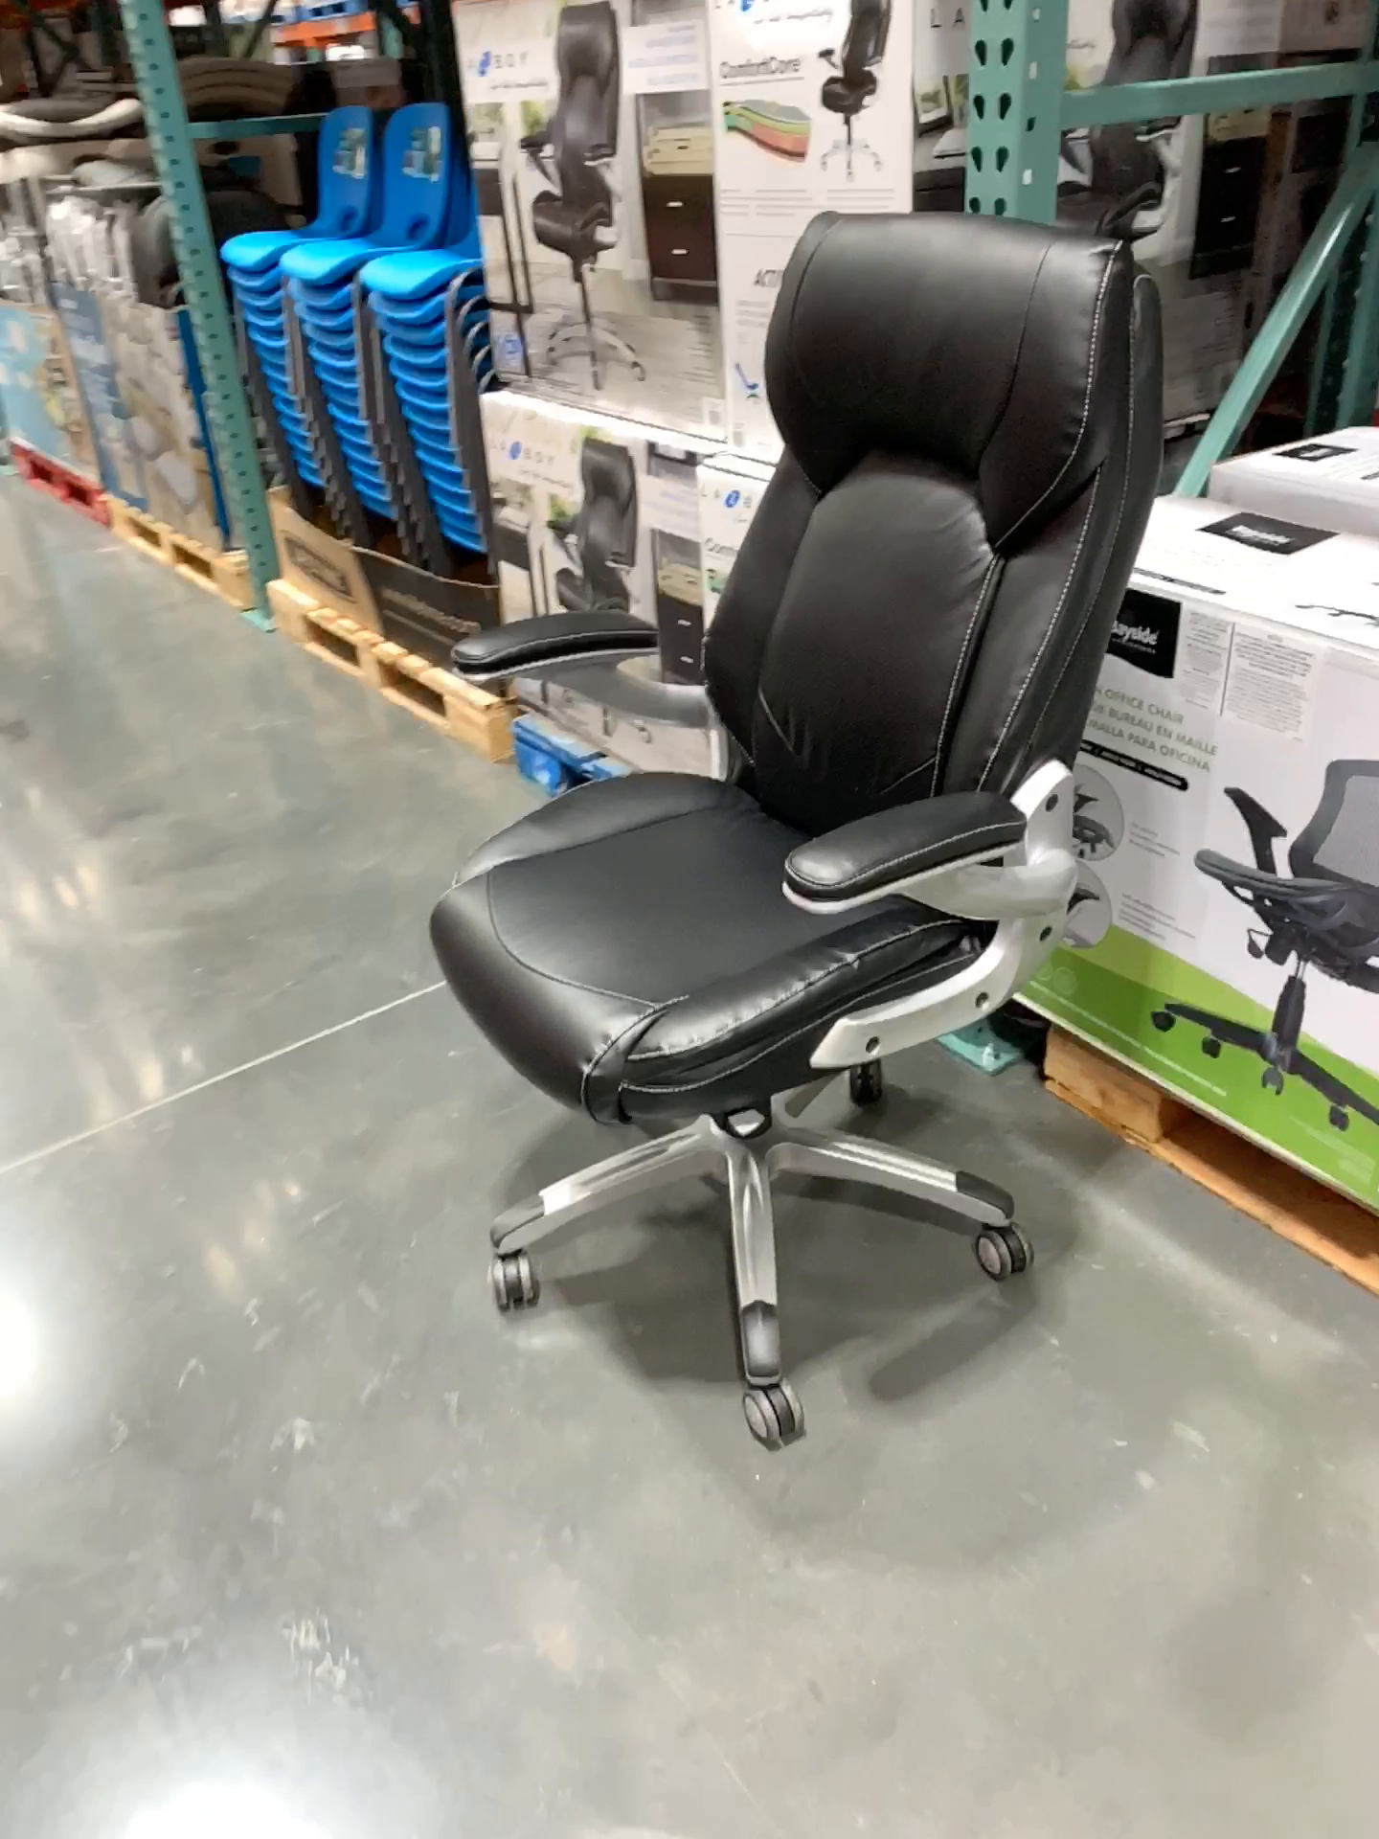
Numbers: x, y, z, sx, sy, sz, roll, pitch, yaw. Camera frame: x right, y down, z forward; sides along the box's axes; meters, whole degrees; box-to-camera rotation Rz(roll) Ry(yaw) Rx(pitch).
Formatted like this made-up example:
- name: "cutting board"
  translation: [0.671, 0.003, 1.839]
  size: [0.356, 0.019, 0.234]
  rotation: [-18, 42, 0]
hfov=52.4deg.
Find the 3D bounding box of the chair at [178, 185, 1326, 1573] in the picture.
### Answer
- name: "chair"
  translation: [0.038, -0.111, 1.500]
  size: [0.704, 1.128, 0.732]
  rotation: [-20, 35, -26]
